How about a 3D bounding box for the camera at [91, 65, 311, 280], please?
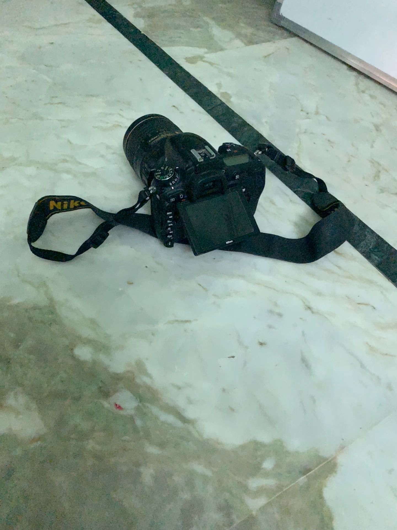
[{"bbox_3d":[-0.013,-0.128,0.495,0.147,0.100,0.258,-19,53,-20],"label":"camera"}]
